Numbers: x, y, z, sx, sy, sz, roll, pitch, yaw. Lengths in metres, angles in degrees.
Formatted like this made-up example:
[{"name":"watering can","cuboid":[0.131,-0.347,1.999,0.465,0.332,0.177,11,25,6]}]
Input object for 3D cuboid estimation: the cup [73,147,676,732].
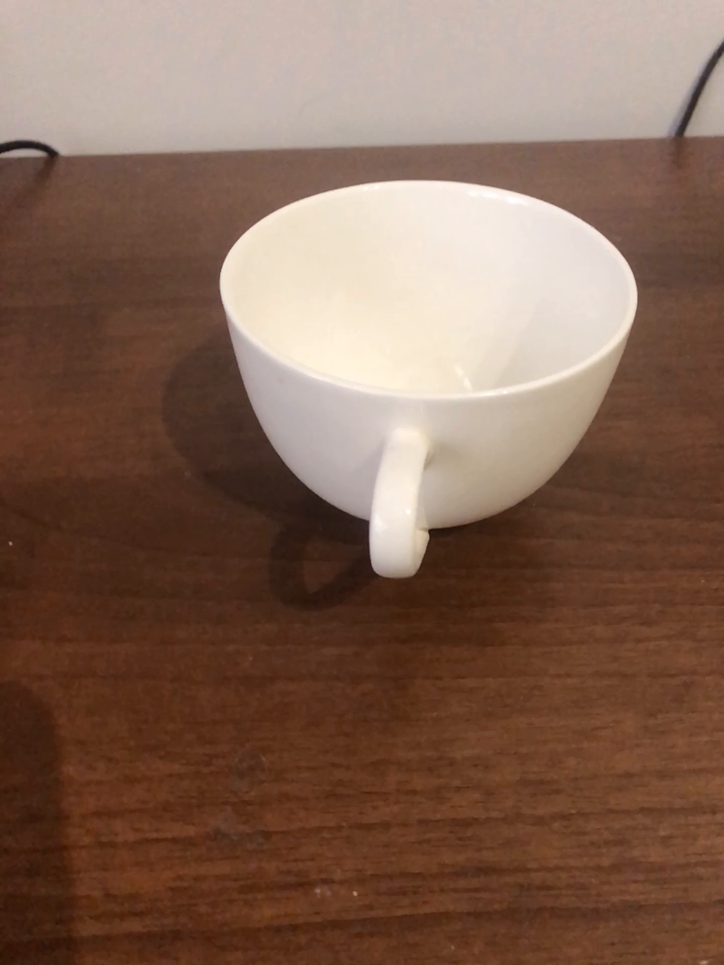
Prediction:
[{"name":"cup","cuboid":[0.009,-0.018,0.183,0.090,0.069,0.111,6,43,7]}]
